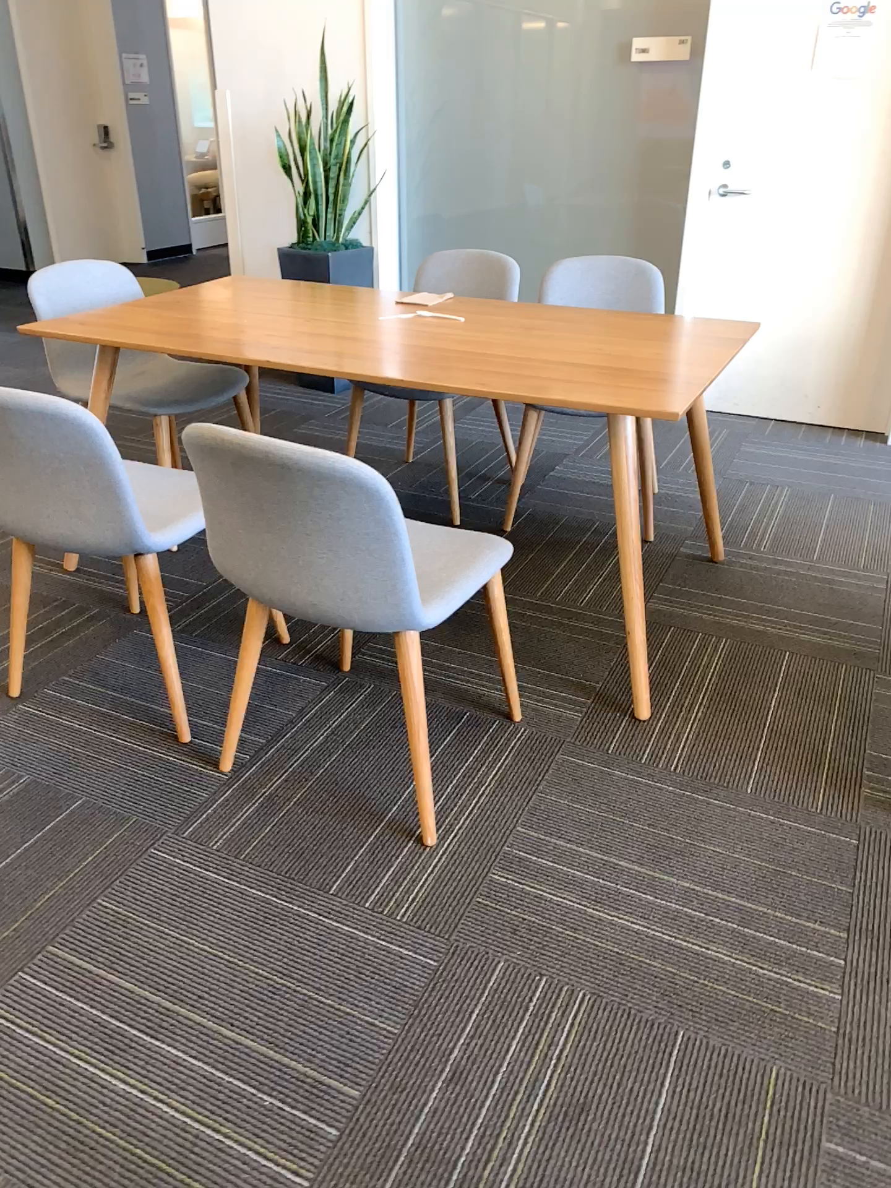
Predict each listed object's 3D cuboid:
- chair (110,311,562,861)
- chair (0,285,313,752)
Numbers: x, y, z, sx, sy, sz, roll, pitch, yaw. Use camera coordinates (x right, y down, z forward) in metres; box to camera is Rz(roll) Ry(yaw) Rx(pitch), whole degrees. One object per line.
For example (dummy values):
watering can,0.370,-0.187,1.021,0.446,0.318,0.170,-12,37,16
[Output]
chair,-0.155,-0.055,1.781,0.571,0.805,0.583,12,32,21
chair,-0.715,-0.199,2.036,0.571,0.805,0.583,9,31,16
